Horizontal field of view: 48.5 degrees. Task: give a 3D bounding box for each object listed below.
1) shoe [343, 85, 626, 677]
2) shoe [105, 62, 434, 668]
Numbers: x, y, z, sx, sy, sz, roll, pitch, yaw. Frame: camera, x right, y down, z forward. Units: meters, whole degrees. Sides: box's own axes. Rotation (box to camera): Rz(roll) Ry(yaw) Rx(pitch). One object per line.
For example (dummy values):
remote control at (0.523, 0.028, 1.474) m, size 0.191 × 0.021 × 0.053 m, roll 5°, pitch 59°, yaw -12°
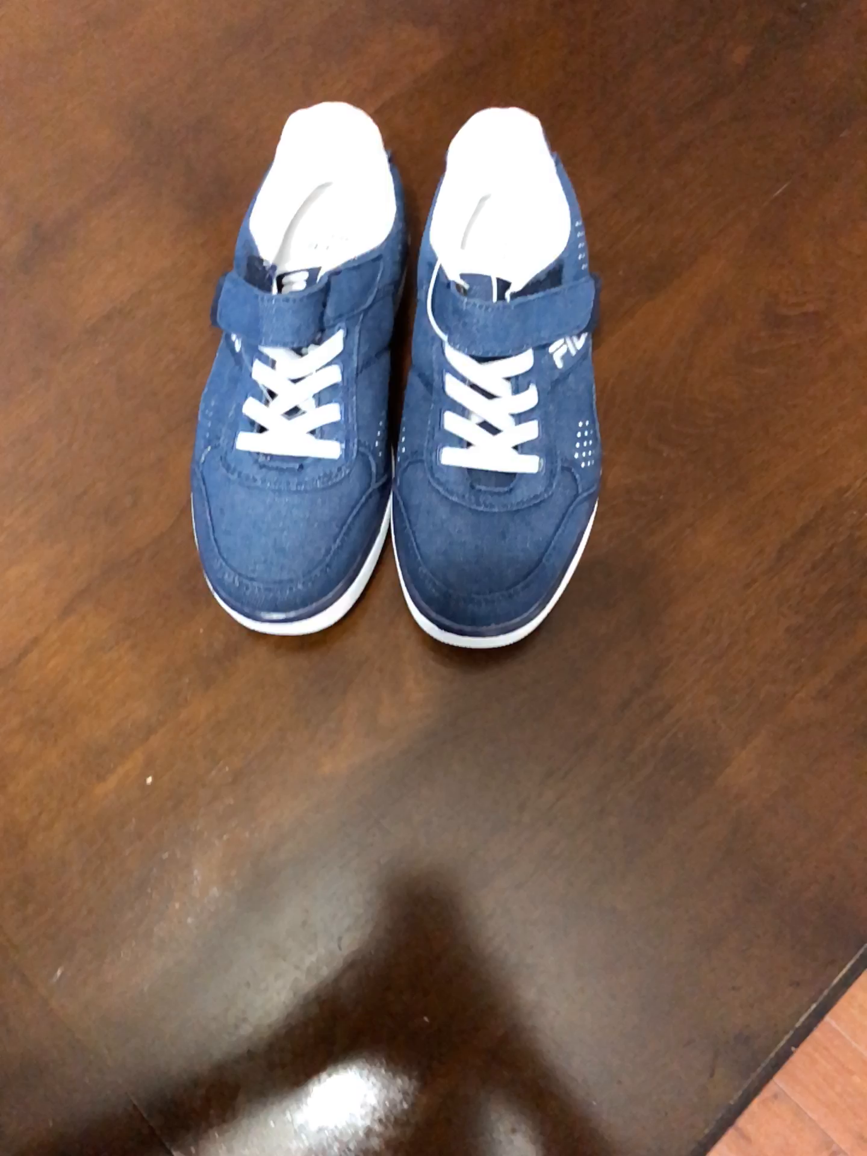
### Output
shoe at (0.022, -0.085, 0.416) m, size 0.100 × 0.080 × 0.240 m, roll 1°, pitch 72°, yaw 1°
shoe at (-0.058, -0.092, 0.414) m, size 0.090 × 0.080 × 0.240 m, roll 6°, pitch 72°, yaw 3°
